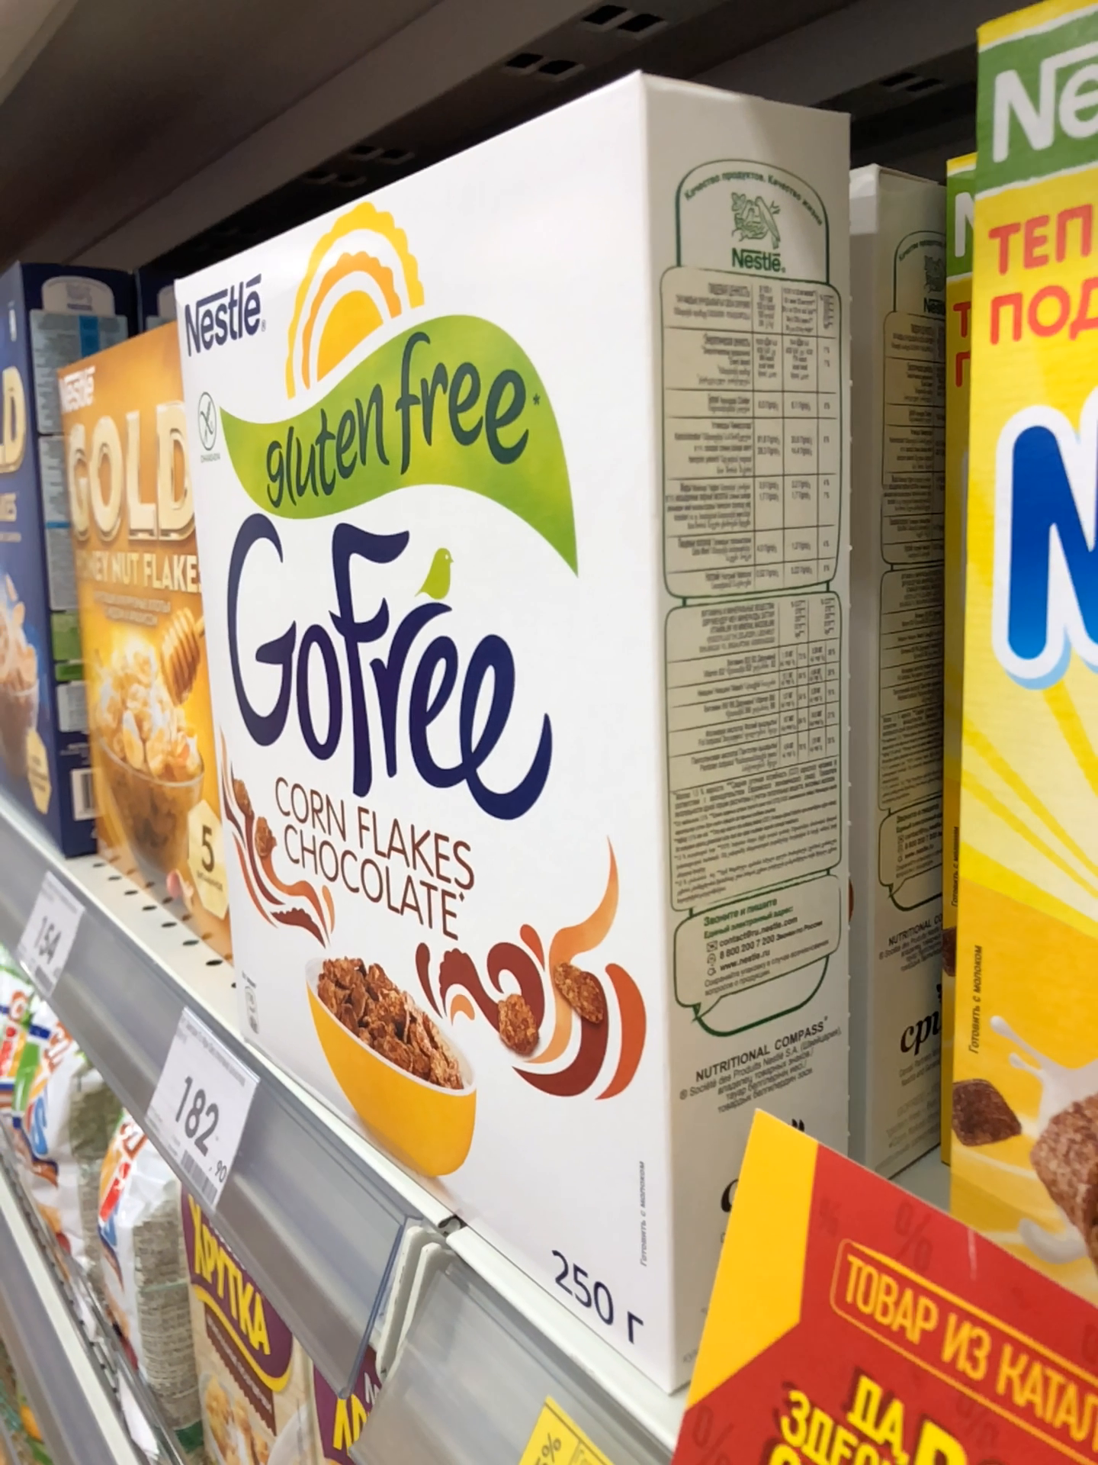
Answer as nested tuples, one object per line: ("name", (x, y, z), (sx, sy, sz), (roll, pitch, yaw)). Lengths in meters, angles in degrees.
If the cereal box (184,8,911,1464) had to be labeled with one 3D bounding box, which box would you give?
("cereal box", (-0.018, -0.004, 0.274), (0.050, 0.219, 0.200), (-8, 12, -33))
